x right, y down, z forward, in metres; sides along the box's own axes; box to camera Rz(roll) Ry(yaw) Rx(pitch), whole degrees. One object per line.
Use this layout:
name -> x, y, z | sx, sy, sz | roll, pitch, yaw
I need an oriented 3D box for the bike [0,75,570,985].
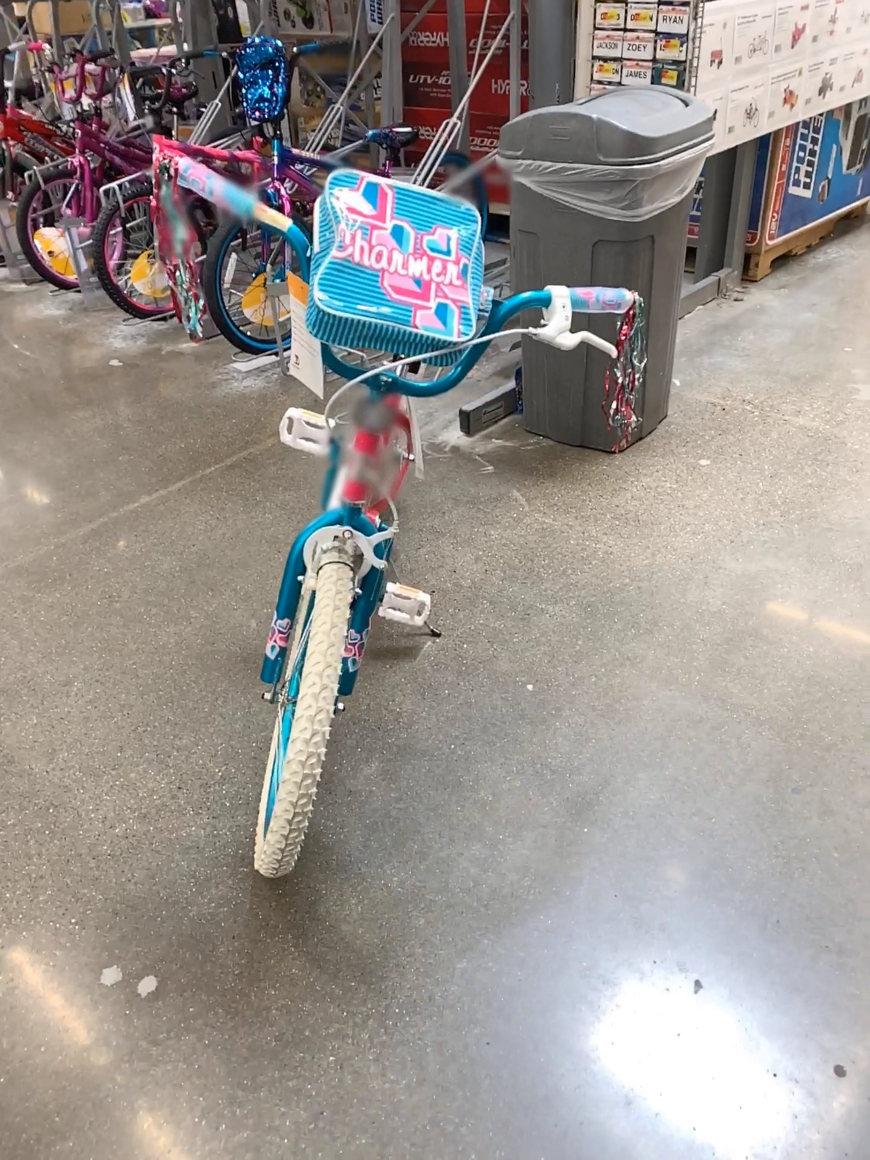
bike -> -0.116, -0.205, 1.552 | 0.652, 0.929, 1.269 | 0, 37, 5
